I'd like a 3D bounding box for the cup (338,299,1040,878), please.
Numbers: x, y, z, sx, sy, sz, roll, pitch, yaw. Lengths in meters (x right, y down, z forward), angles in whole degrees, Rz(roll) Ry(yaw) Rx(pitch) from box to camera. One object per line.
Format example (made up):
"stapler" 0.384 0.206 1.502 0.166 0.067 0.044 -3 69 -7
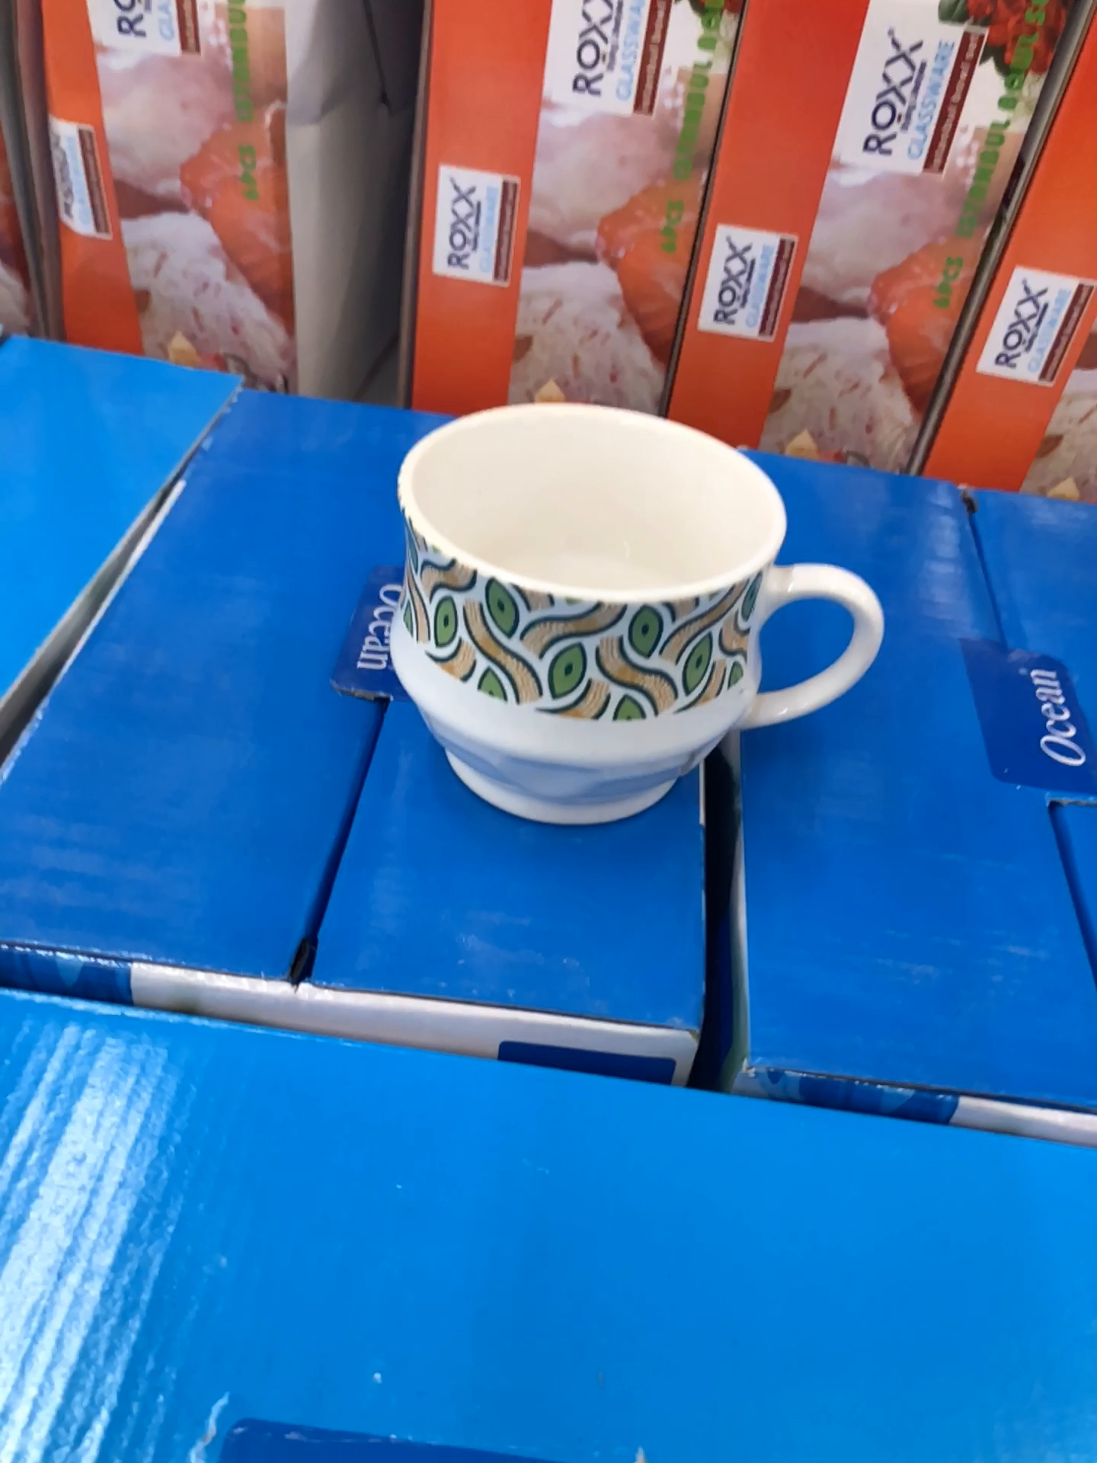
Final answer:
"cup" 0.020 -0.027 0.220 0.100 0.060 0.070 8 42 -2
